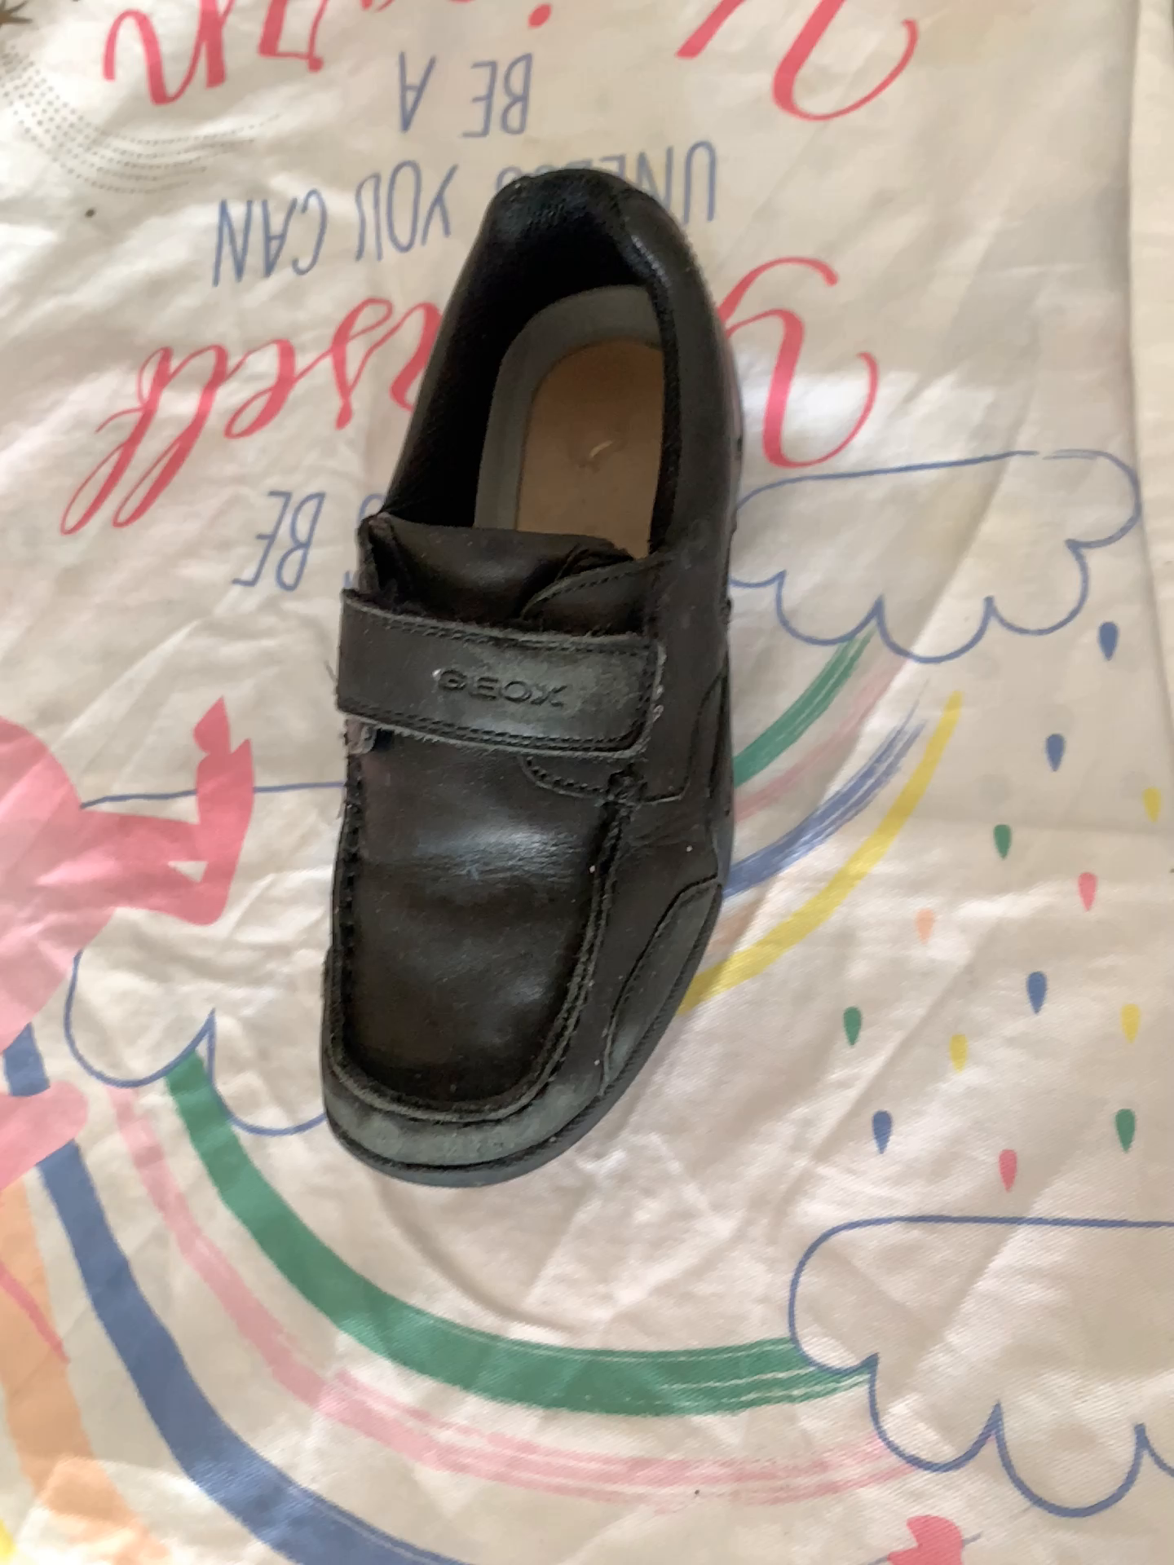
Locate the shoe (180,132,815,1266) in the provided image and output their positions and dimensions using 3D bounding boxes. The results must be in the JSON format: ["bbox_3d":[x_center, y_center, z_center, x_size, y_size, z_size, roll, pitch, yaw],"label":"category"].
[{"bbox_3d":[0.001,-0.013,0.296,0.080,0.140,0.221,7,75,12],"label":"shoe"}]
